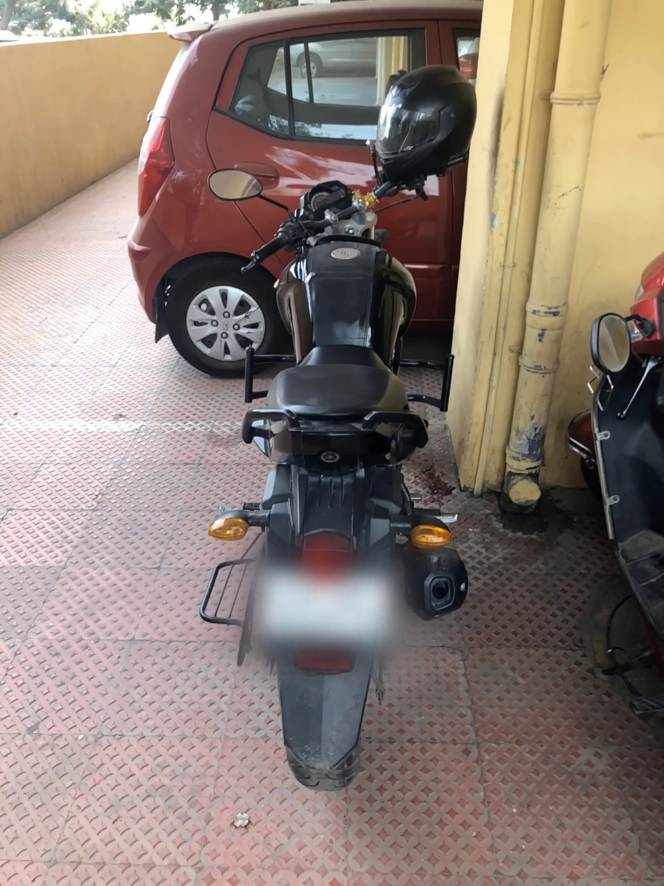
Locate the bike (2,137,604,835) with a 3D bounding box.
[{"bbox_3d":[-0.095,-0.145,1.926,0.739,1.025,1.792,-1,30,-2],"label":"bike"}]
